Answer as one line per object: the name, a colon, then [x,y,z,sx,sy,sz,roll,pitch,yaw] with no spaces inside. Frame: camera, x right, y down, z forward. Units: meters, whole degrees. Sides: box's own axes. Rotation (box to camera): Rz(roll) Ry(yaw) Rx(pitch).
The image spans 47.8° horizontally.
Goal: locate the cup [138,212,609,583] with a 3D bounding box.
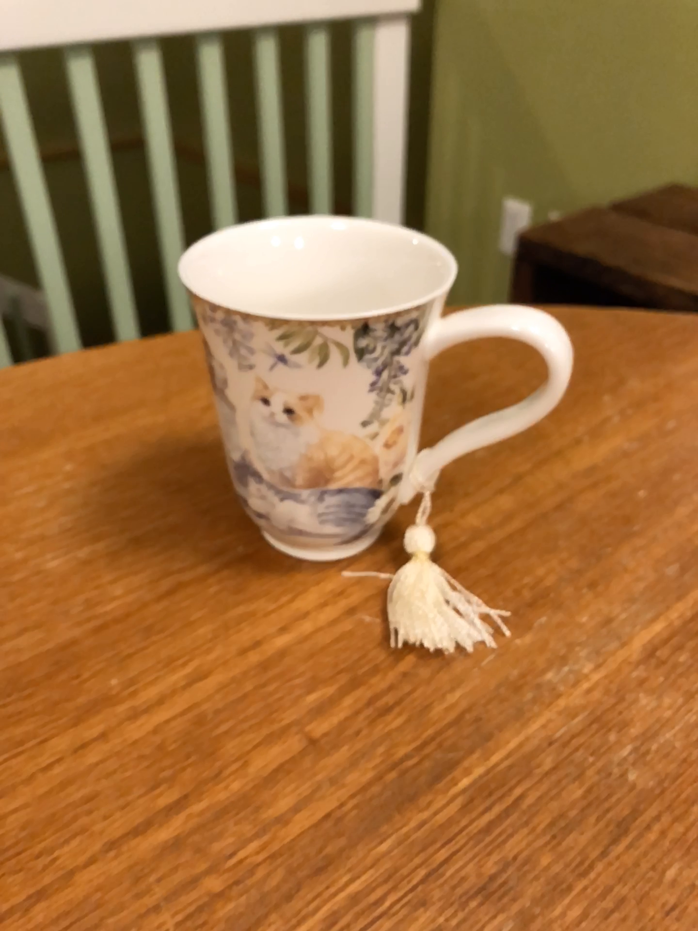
cup: [0.011,-0.030,0.290,0.135,0.092,0.095,4,35,6]
